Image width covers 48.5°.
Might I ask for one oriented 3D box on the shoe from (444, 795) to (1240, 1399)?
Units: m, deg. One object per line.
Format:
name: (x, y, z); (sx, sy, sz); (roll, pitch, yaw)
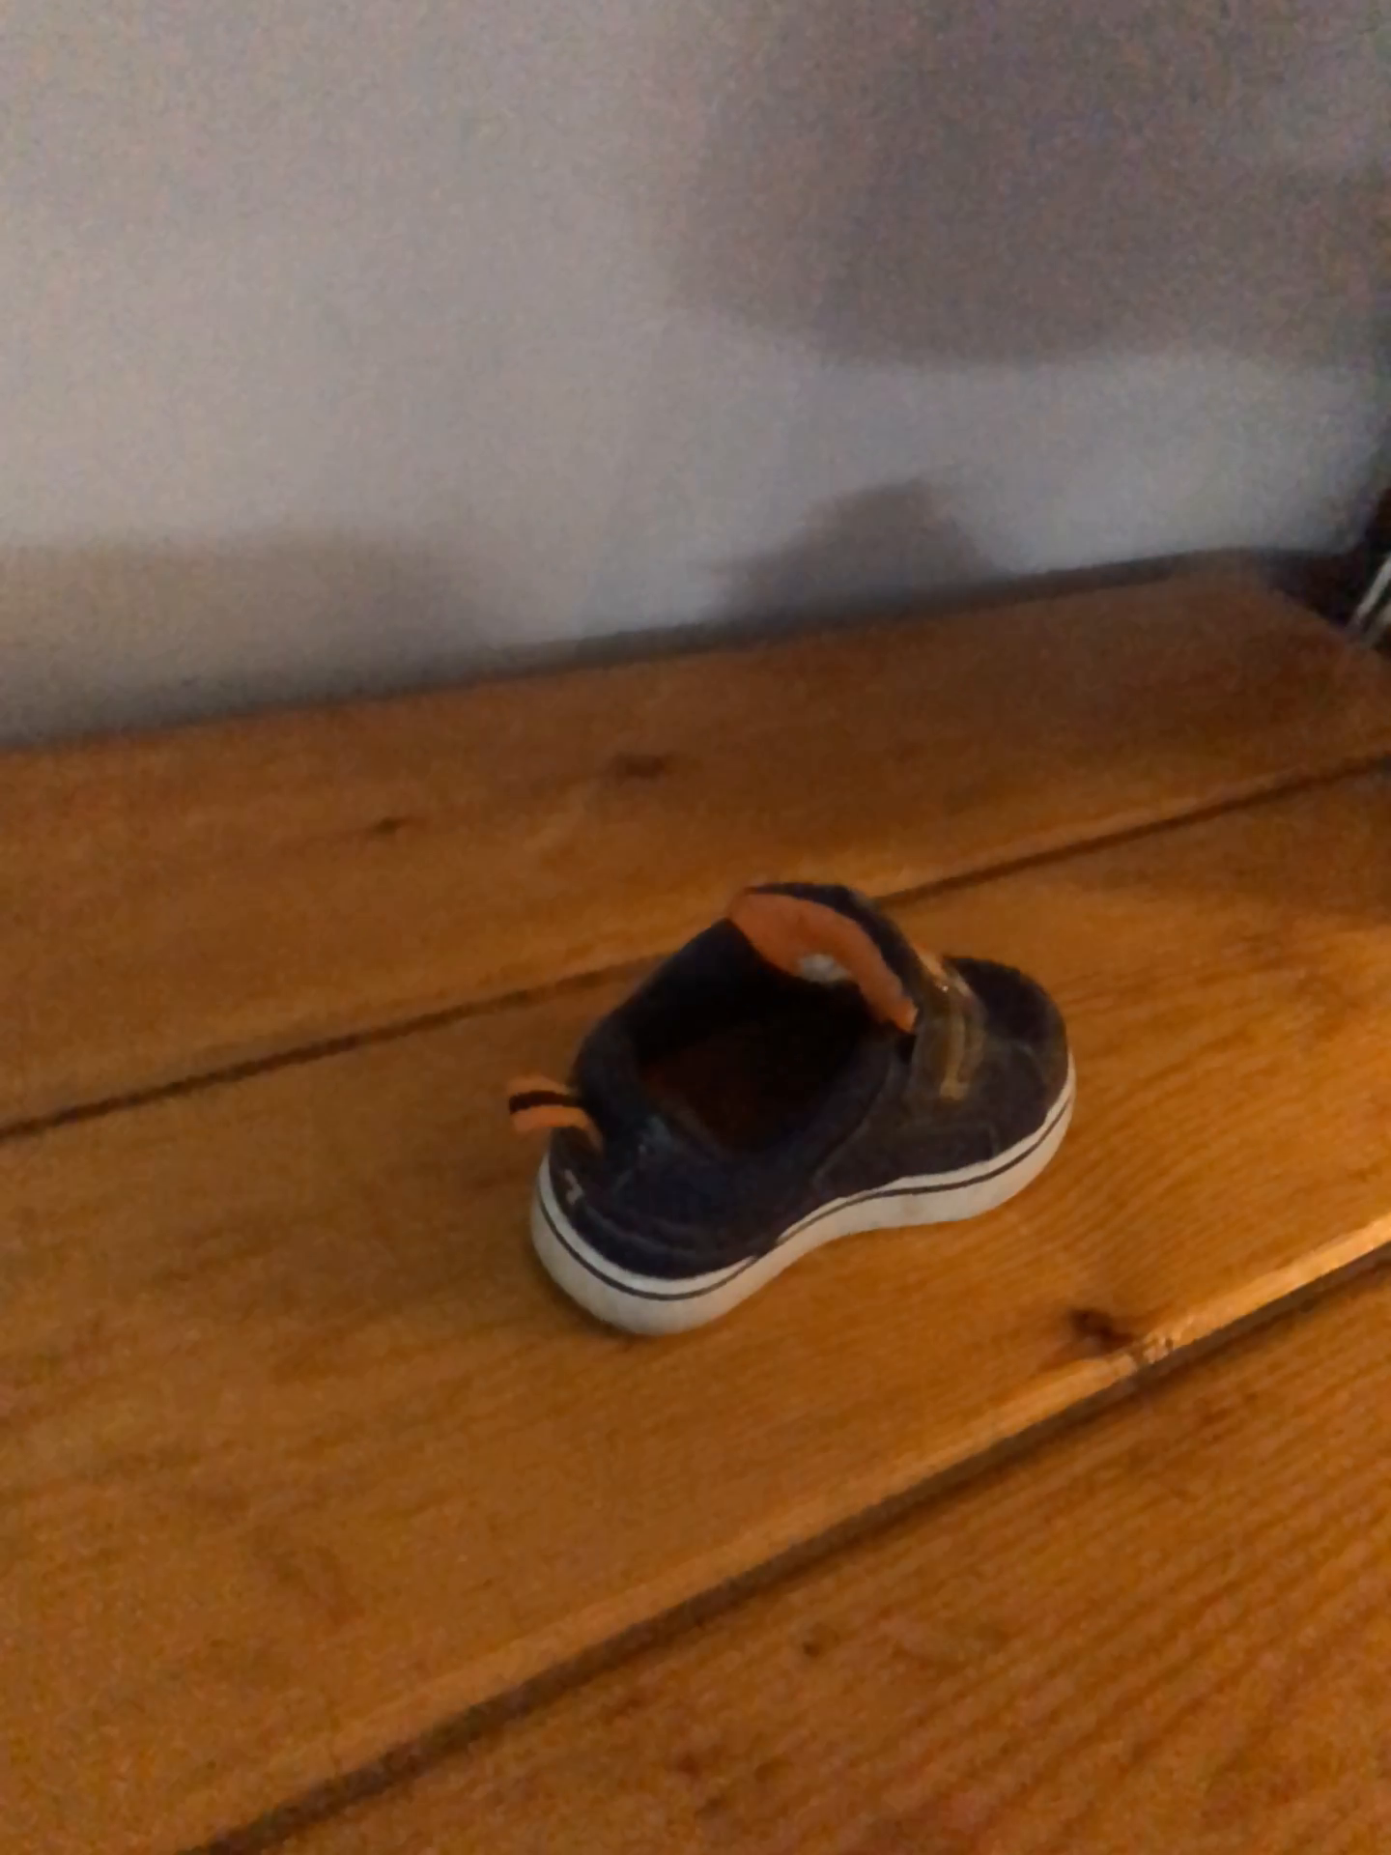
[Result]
shoe: (0.033, 0.031, 0.356); (0.160, 0.070, 0.070); (-14, 46, -30)
